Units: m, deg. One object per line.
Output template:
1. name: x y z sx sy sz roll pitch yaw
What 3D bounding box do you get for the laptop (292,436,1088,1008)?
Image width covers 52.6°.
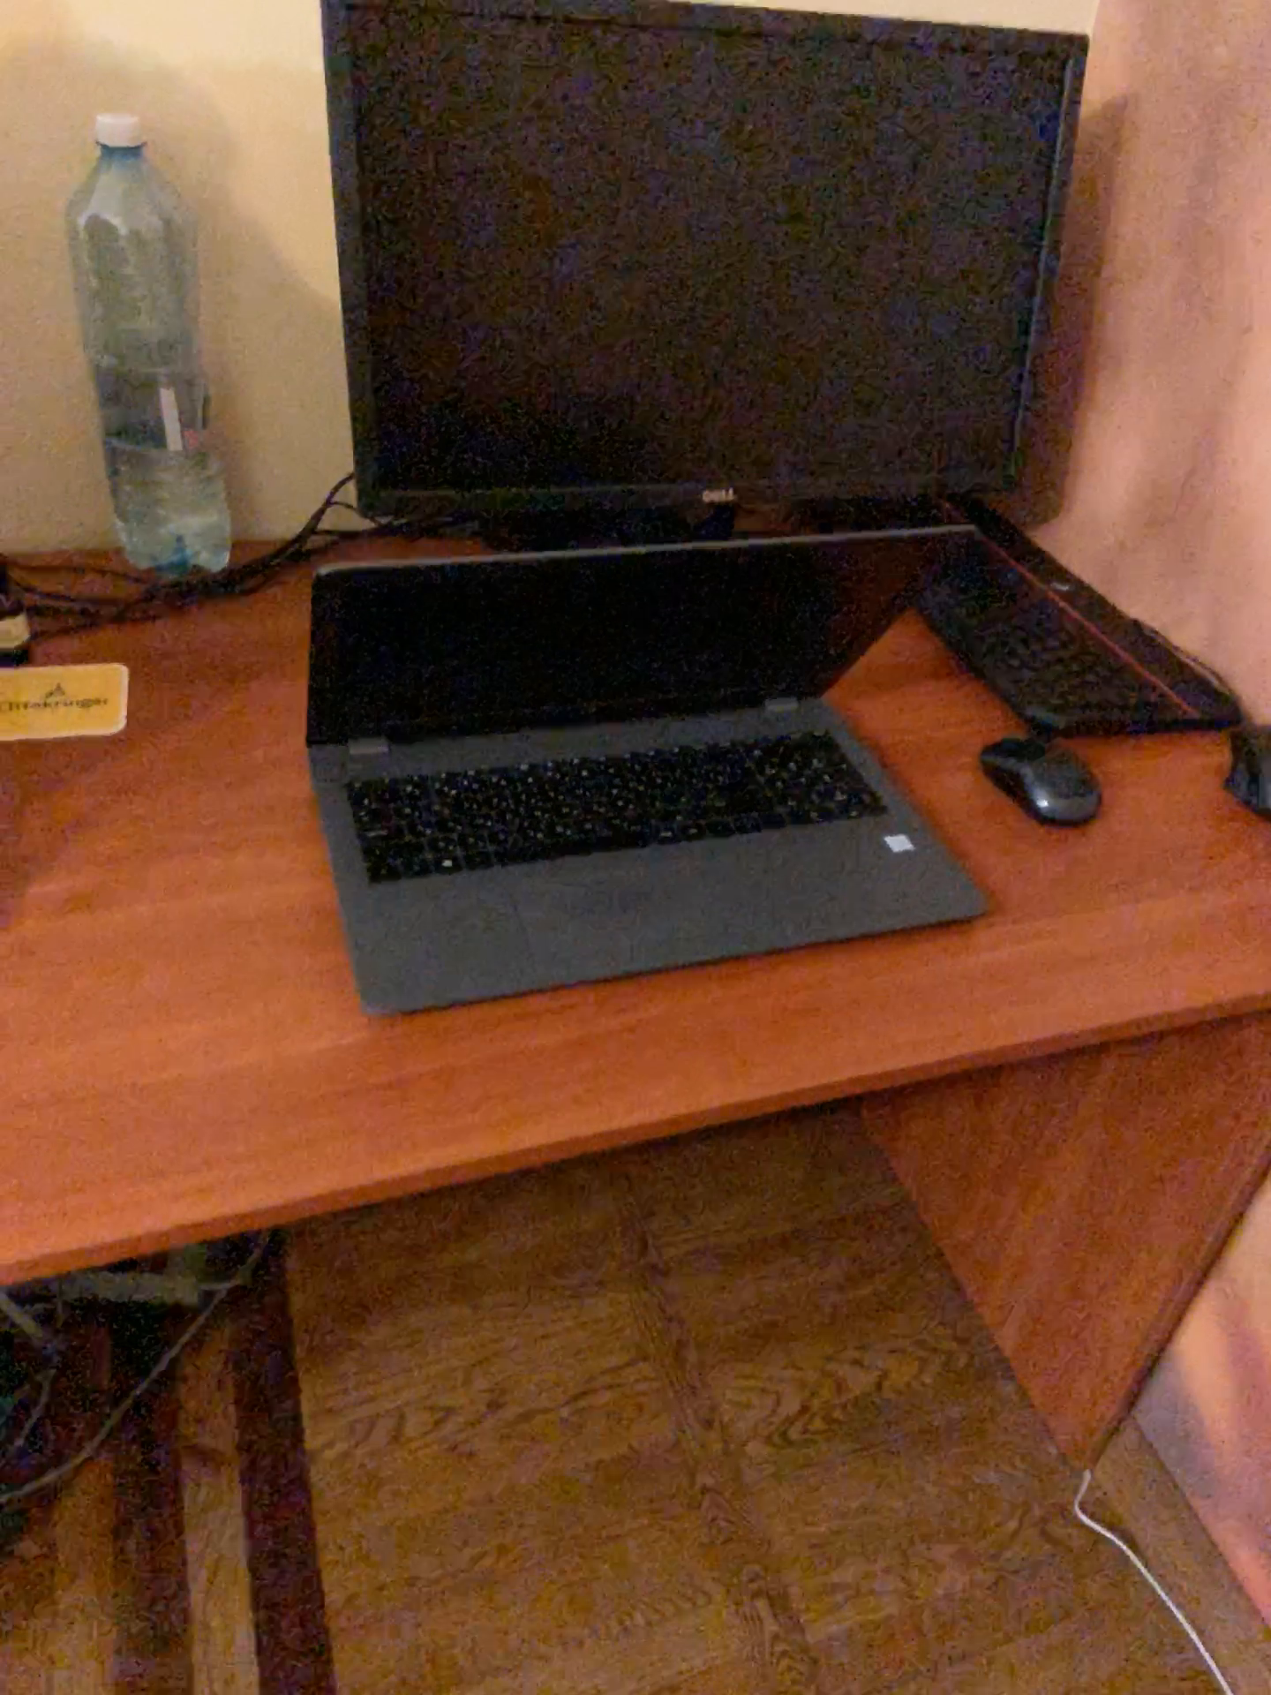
1. laptop: 0.010 -0.090 0.734 0.360 0.191 0.233 -8 40 -18
